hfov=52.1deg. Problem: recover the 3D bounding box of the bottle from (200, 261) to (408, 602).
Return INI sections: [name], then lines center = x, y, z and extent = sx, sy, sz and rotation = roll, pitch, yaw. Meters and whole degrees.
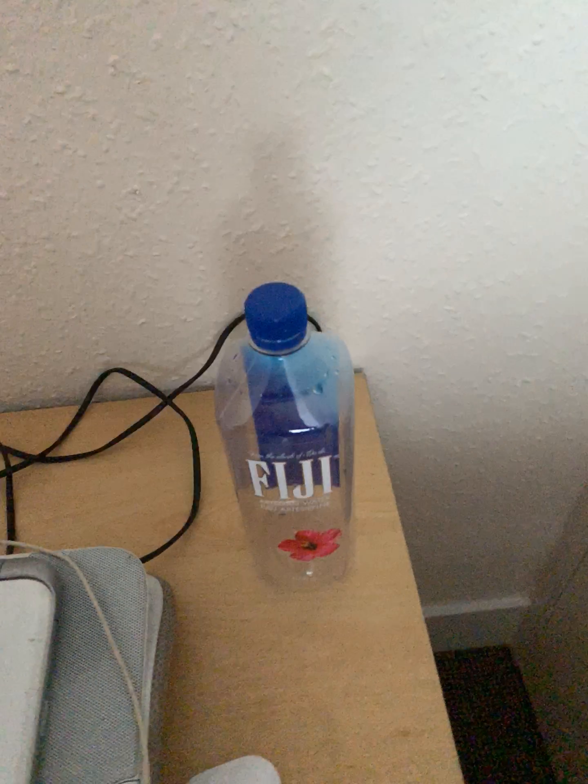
[bottle]
center = 0.006, 0.036, 0.361
extent = 0.090, 0.208, 0.081
rotation = -4, 45, -1
